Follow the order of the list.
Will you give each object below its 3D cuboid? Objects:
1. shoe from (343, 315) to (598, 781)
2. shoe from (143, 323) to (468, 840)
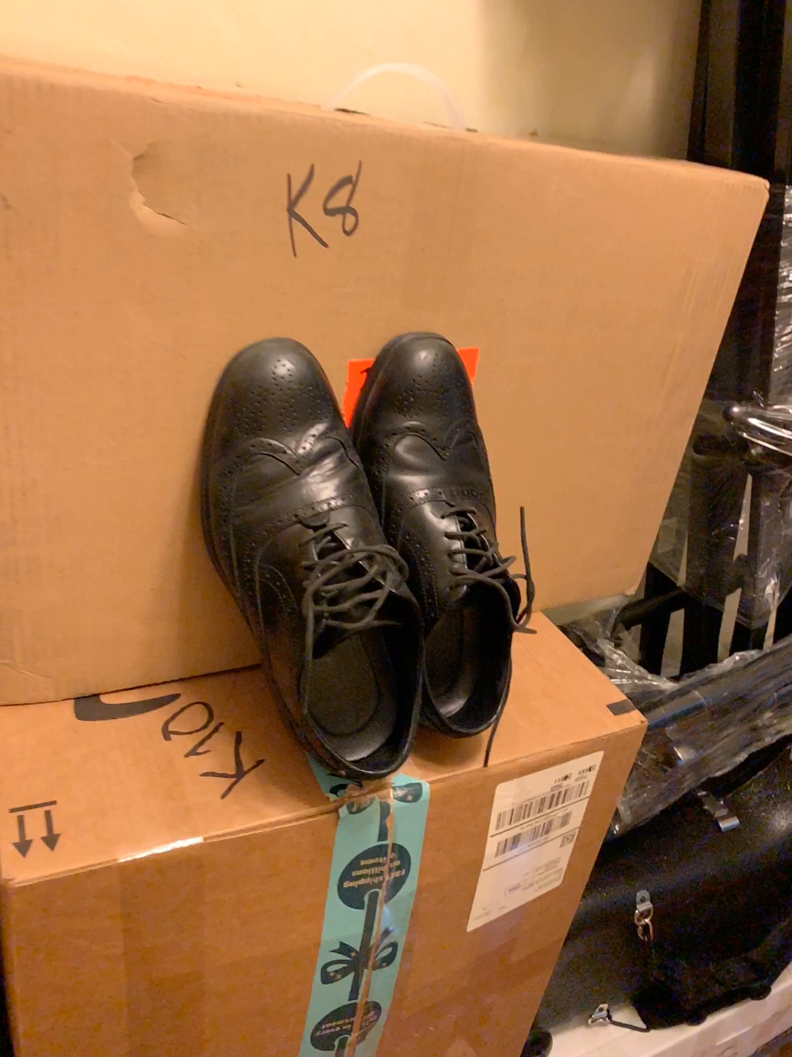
[{"bbox_3d":[0.042,0.004,0.545,0.120,0.279,0.100,-6,16,-29],"label":"shoe"},{"bbox_3d":[-0.050,0.025,0.506,0.120,0.279,0.100,-19,21,-27],"label":"shoe"}]
